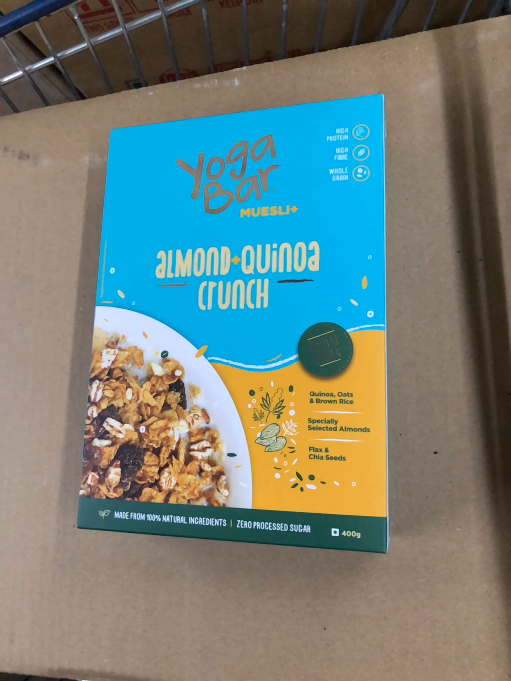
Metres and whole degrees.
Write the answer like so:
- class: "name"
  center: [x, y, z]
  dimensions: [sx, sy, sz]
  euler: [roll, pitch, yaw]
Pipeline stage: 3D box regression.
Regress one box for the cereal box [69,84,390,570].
- class: "cereal box"
  center: [-0.008, -0.008, 0.325]
  dimensions: [0.160, 0.070, 0.240]
  euler: [-1, 81, 12]
